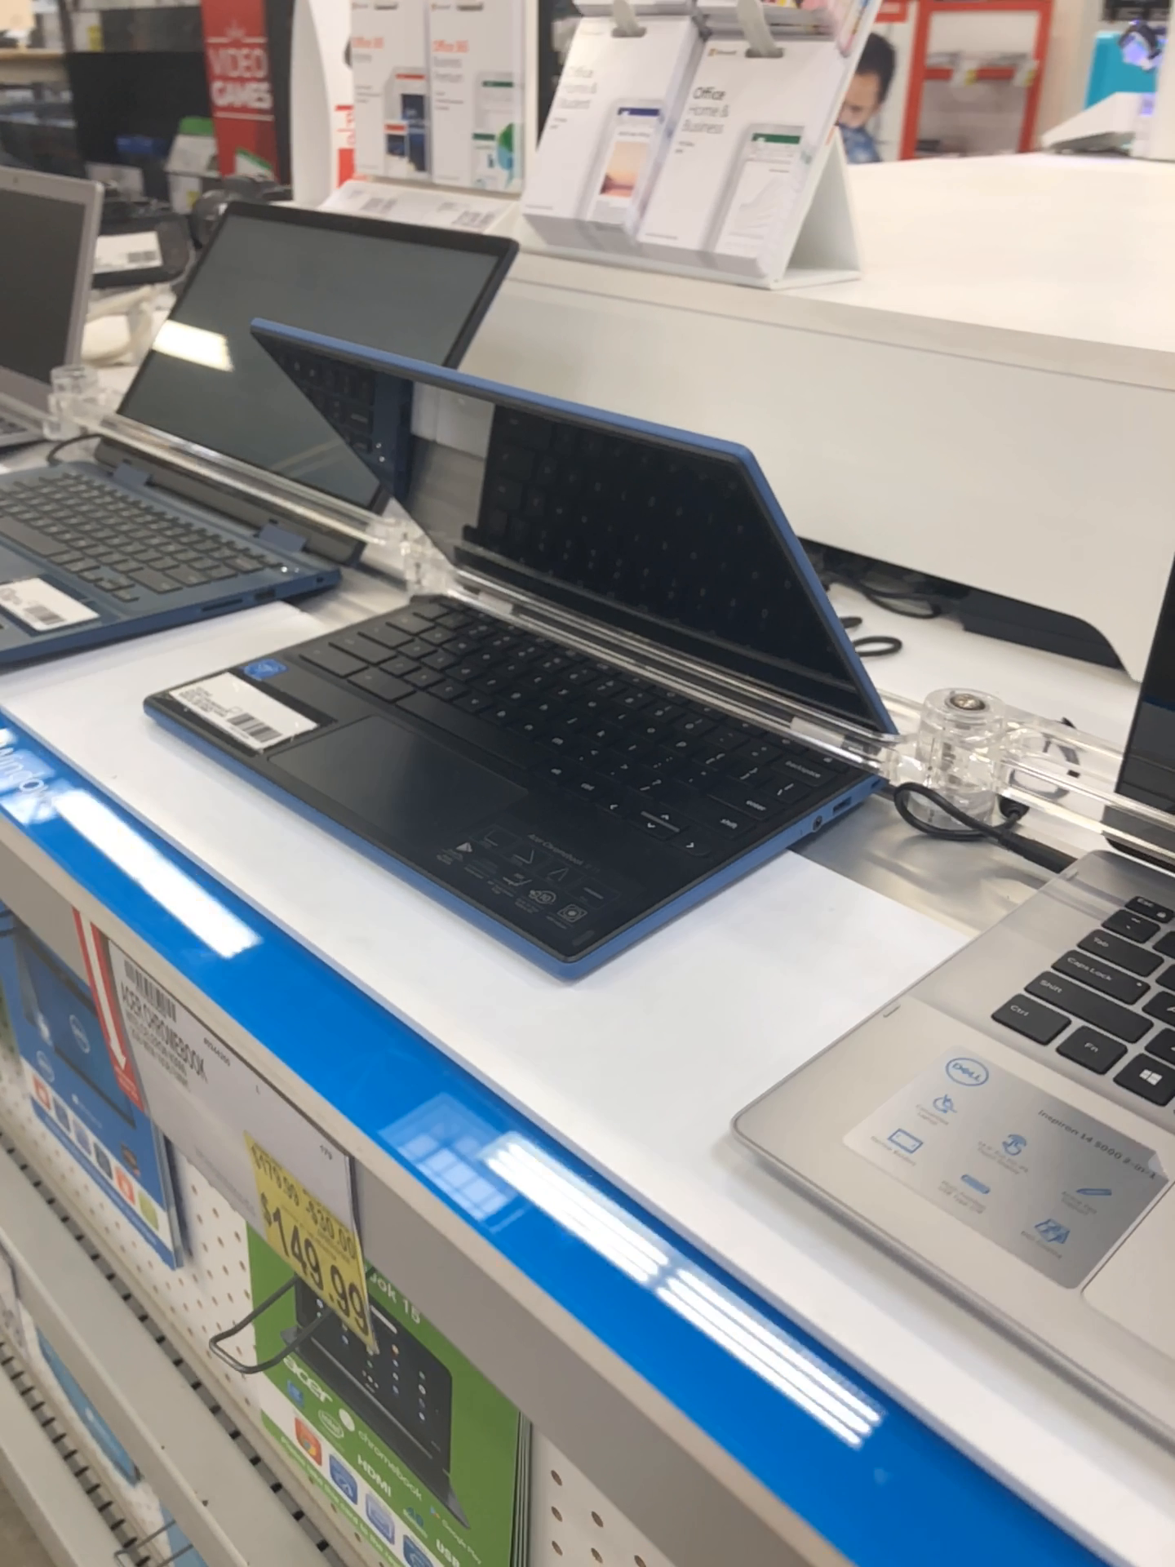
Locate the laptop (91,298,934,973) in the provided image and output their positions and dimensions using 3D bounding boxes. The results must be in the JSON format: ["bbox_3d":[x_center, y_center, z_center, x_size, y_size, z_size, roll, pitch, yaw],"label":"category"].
[{"bbox_3d":[-0.041,-0.093,0.553,0.195,0.159,0.294,-24,38,-38],"label":"laptop"}]

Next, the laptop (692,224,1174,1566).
[{"bbox_3d":[0.251,0.018,0.279,0.256,0.218,0.341,-25,36,-36],"label":"laptop"}]

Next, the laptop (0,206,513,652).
[{"bbox_3d":[-0.289,-0.251,0.815,0.368,0.169,0.305,-24,38,-39],"label":"laptop"}]
